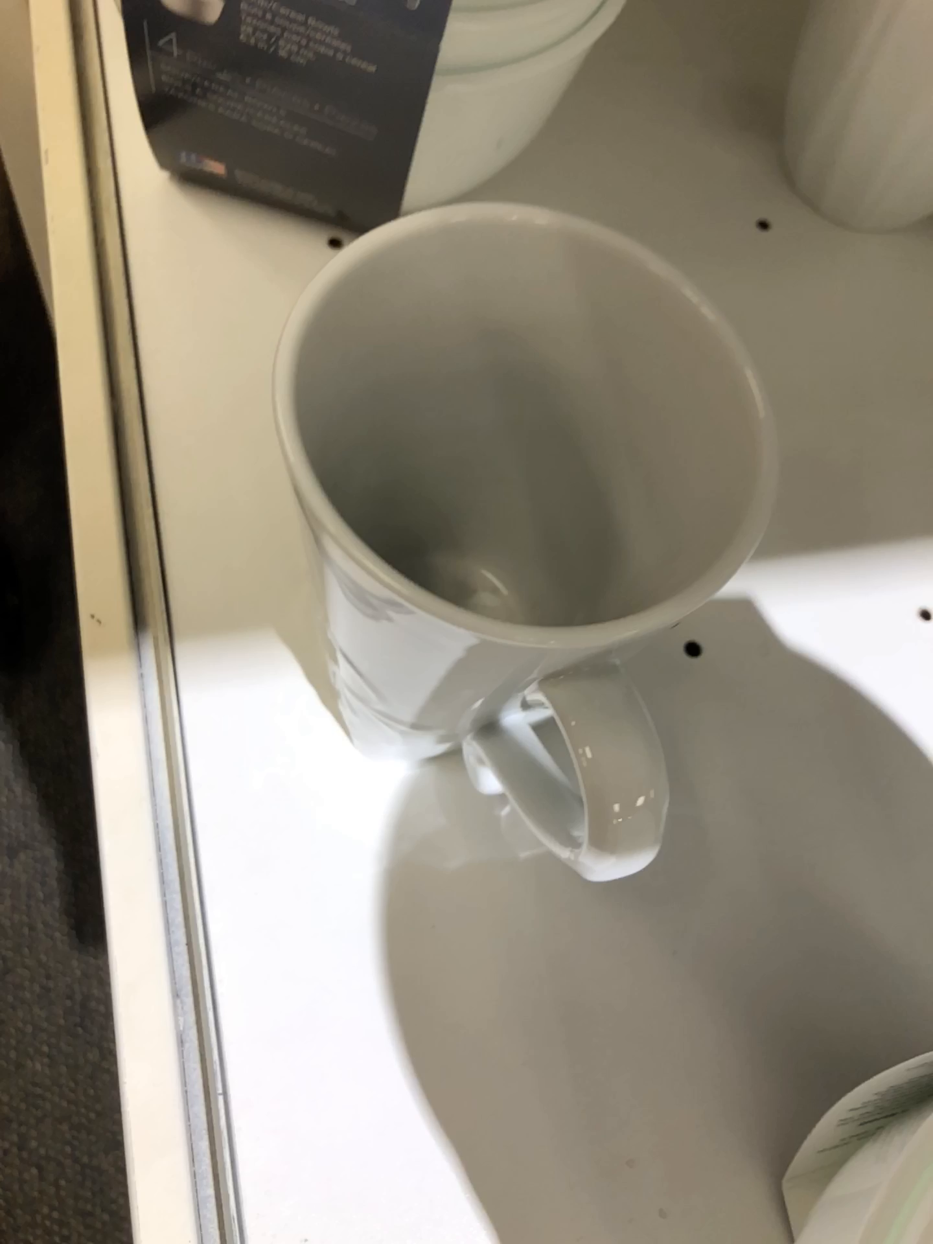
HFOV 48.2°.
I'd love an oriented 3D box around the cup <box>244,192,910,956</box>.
[{"bbox_3d":[0.005,-0.003,0.221,0.086,0.113,0.115,-7,68,-13],"label":"cup"}]
